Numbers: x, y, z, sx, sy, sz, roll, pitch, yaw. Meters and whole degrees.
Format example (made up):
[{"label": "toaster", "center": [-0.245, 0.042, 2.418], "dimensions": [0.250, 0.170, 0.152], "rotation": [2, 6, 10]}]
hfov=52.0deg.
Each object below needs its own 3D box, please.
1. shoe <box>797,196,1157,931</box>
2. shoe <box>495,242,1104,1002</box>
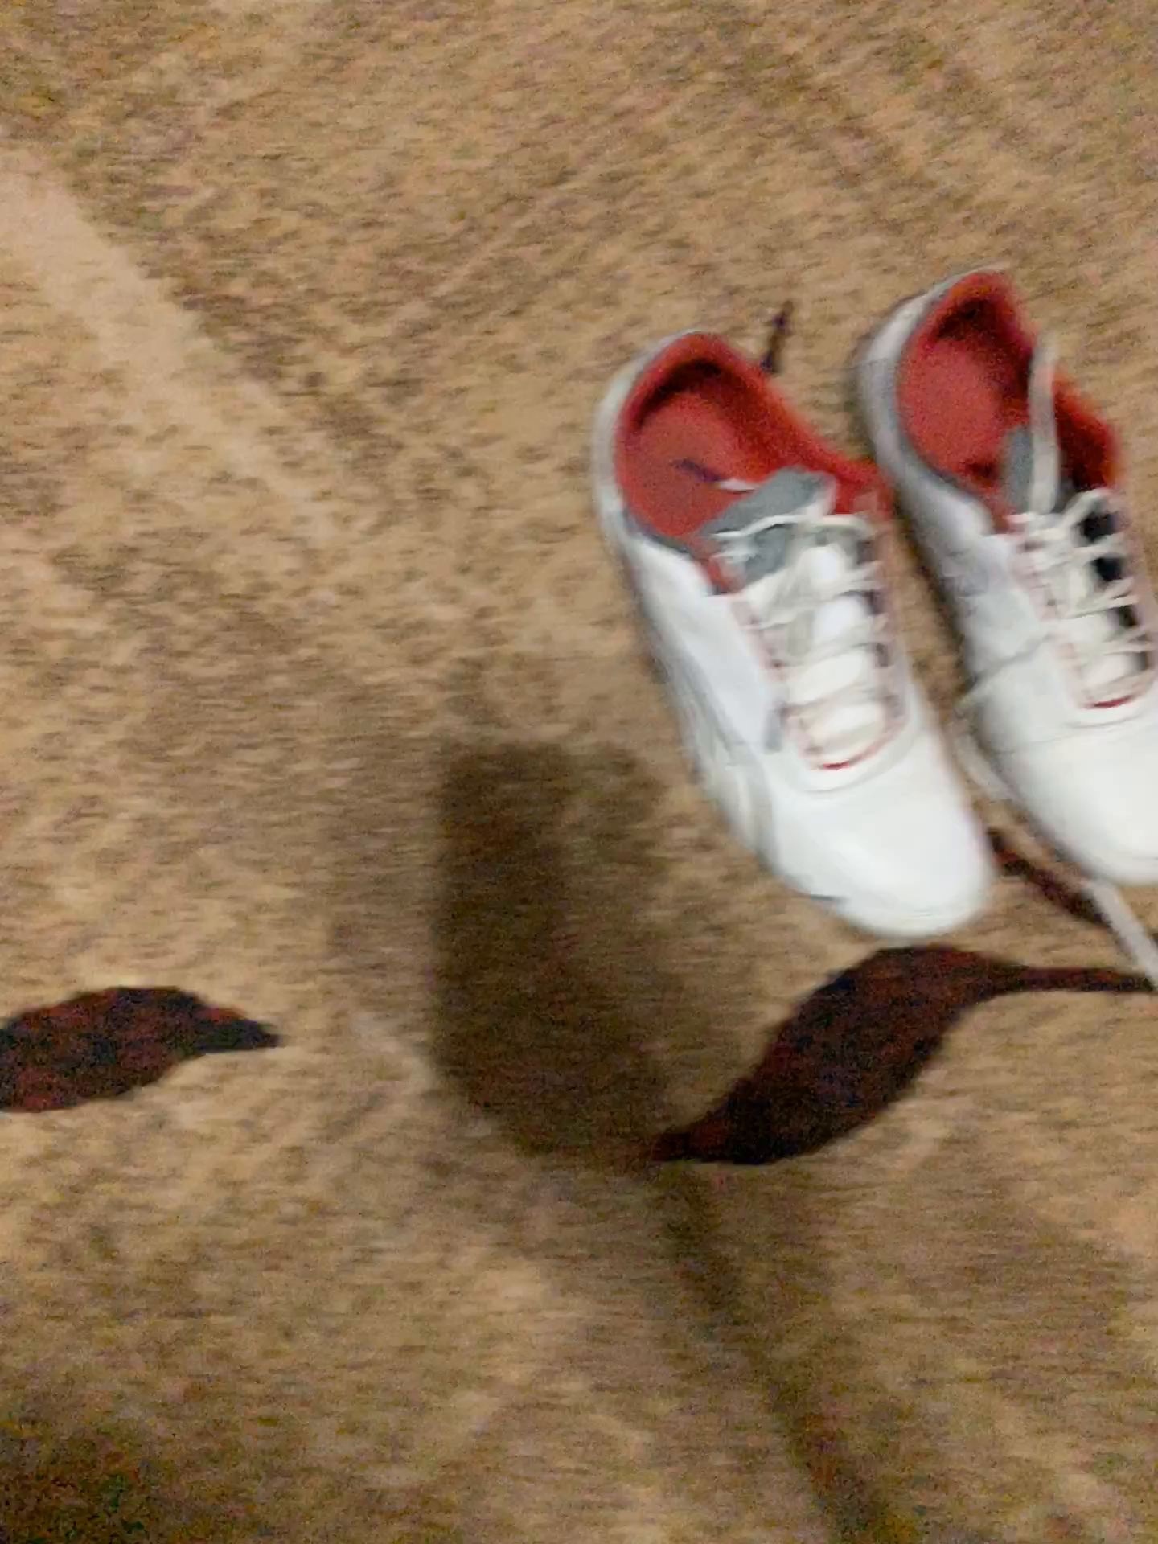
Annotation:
[{"label": "shoe", "center": [0.196, -0.086, 0.495], "dimensions": [0.103, 0.070, 0.281], "rotation": [-17, 81, -10]}, {"label": "shoe", "center": [0.077, -0.058, 0.474], "dimensions": [0.099, 0.070, 0.281], "rotation": [-27, 83, -12]}]
